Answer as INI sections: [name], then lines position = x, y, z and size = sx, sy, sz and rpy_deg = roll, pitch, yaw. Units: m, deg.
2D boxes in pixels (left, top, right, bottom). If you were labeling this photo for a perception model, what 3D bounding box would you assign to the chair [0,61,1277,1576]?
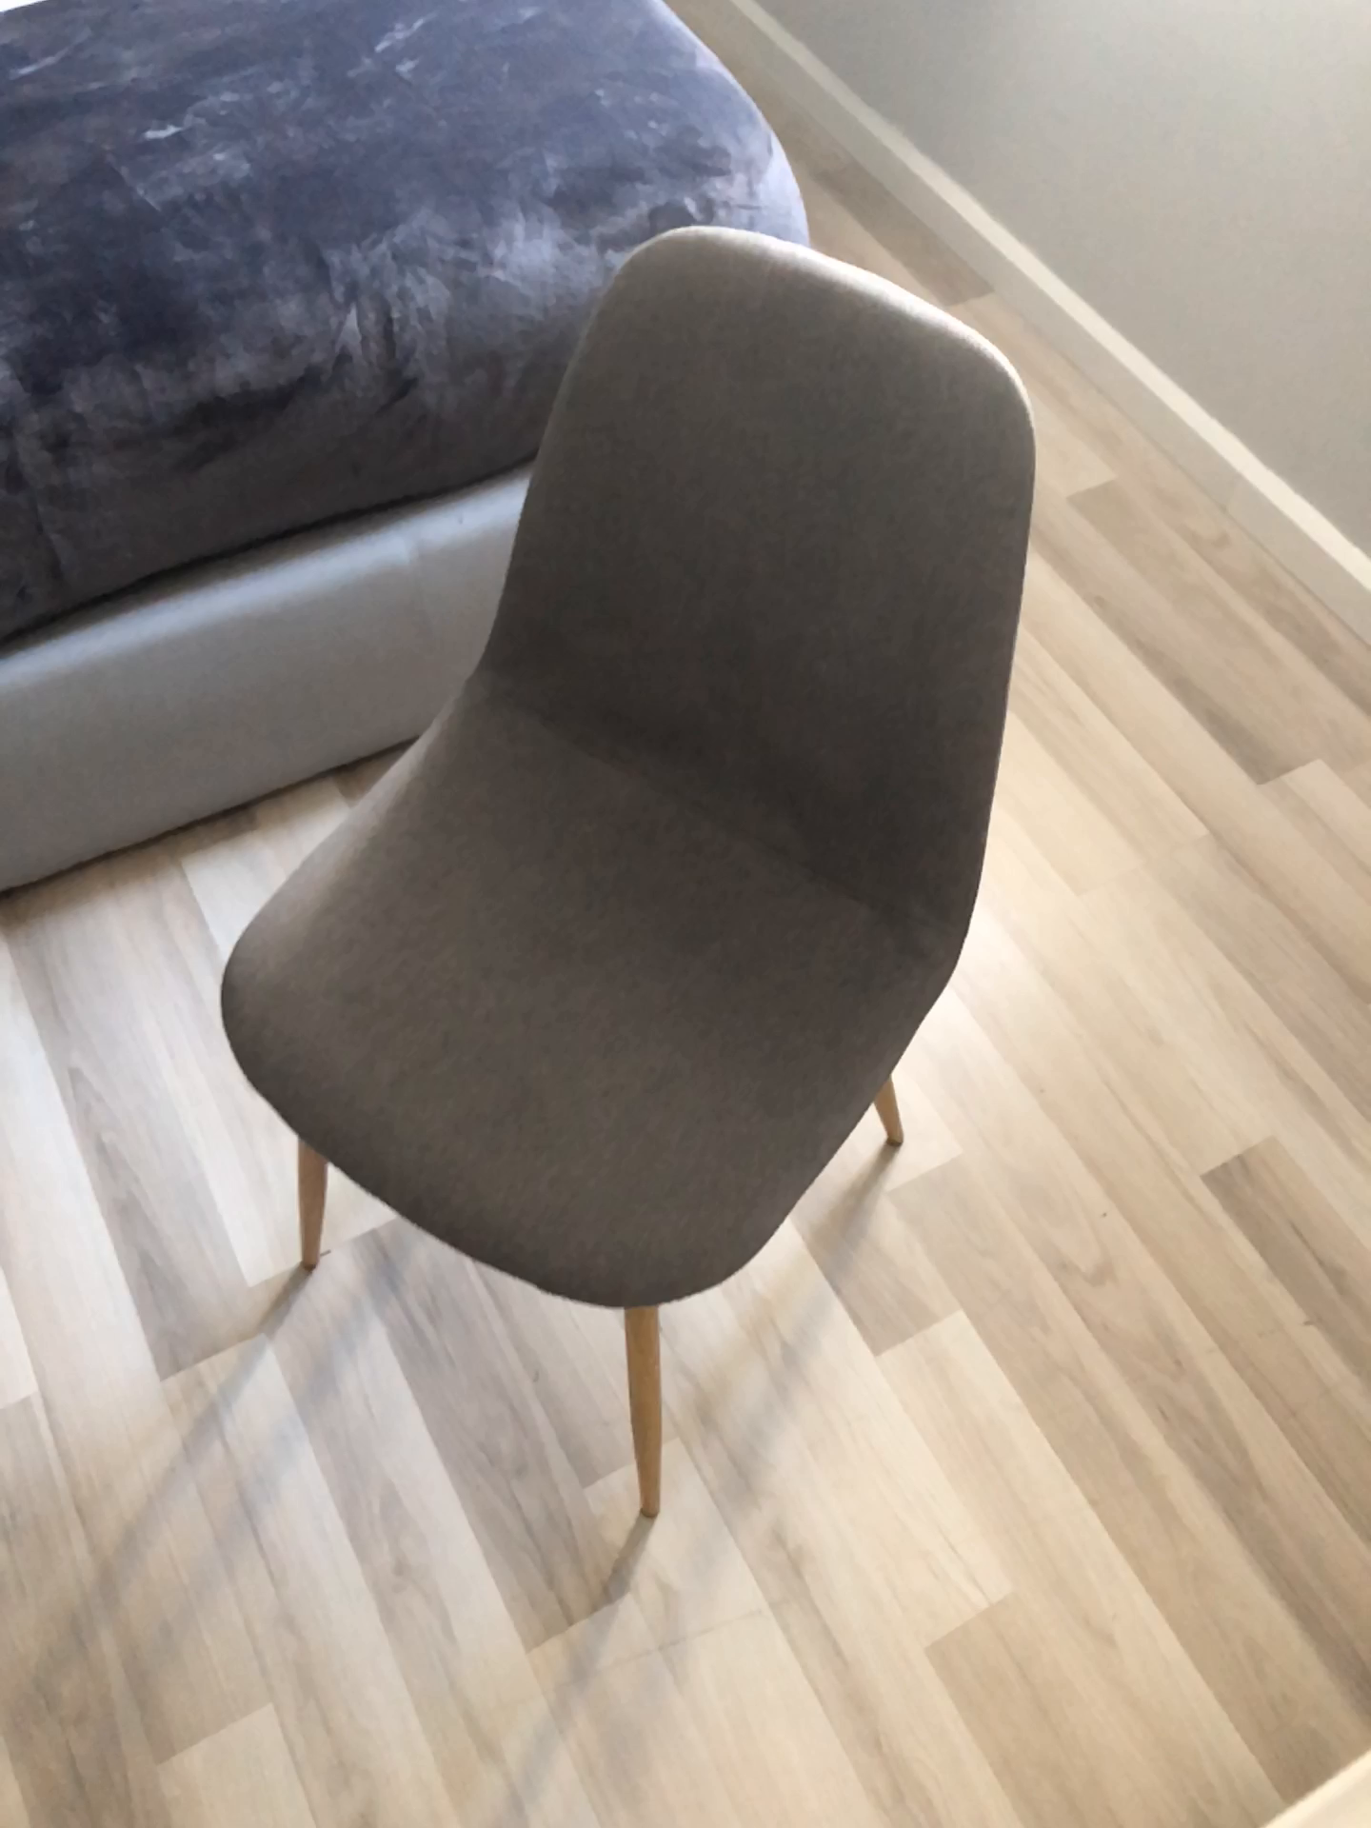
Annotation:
[chair]
position = -0.053, -0.006, 1.058
size = 0.470, 0.786, 0.573
rpy_deg = 30, 60, 17
